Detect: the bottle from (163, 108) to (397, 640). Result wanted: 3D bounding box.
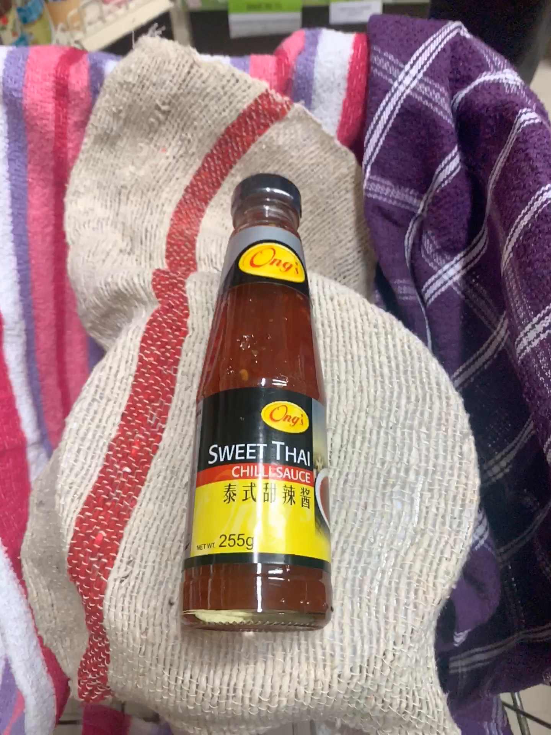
[{"bbox_3d":[0.005,-0.003,0.221,0.060,0.050,0.190,12,64,-17],"label":"bottle"}]
